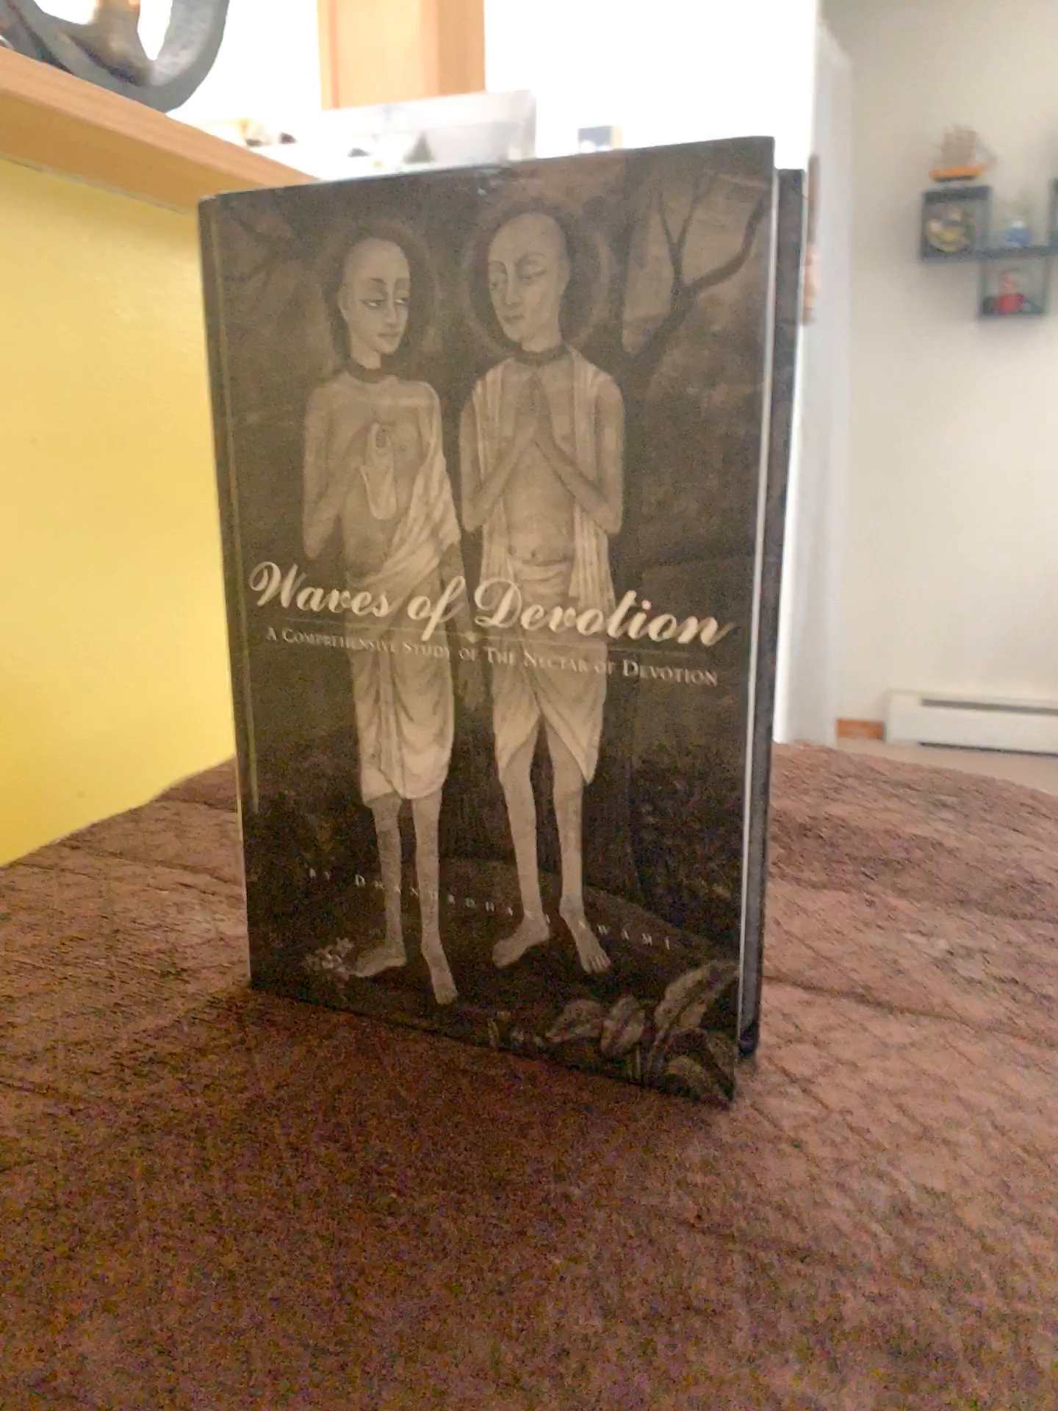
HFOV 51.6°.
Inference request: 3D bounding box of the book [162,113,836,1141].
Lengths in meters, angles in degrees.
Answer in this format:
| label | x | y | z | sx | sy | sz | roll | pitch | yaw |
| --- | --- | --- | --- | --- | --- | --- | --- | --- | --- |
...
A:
| label | x | y | z | sx | sy | sz | roll | pitch | yaw |
| --- | --- | --- | --- | --- | --- | --- | --- | --- | --- |
| book | -0.010 | -0.016 | 0.291 | 0.160 | 0.229 | 0.040 | 6 | 17 | 25 |
